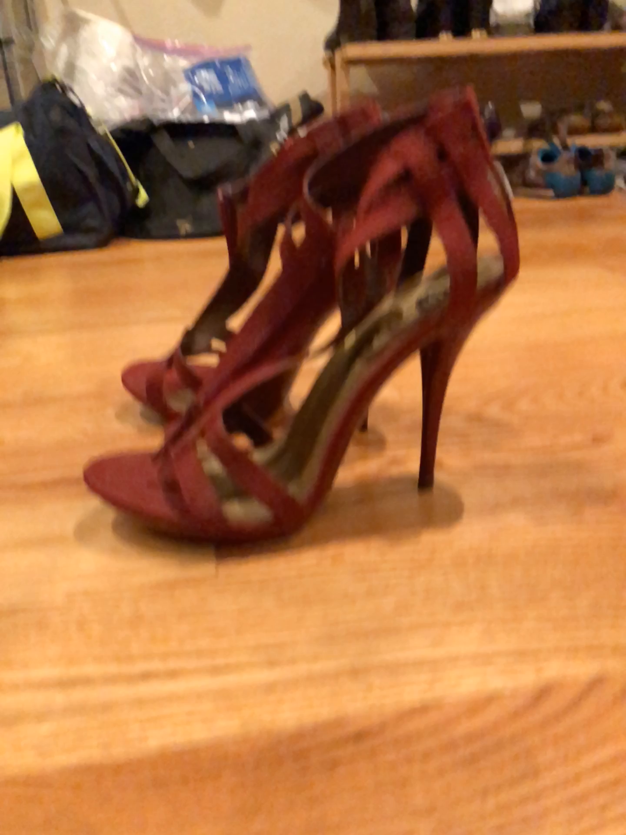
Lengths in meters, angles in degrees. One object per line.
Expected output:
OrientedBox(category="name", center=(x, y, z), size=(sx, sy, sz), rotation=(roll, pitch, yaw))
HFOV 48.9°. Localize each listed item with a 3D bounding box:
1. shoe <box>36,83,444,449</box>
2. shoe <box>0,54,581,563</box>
OrientedBox(category="shoe", center=(-0.032, -0.088, 0.398), size=(0.199, 0.175, 0.085), rotation=(4, 24, 17))
OrientedBox(category="shoe", center=(-0.011, -0.050, 0.297), size=(0.206, 0.175, 0.085), rotation=(-6, 23, -8))
